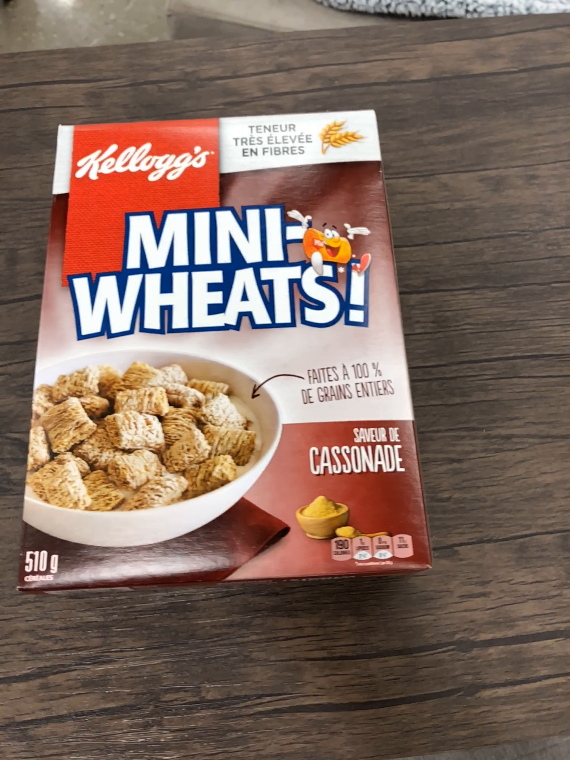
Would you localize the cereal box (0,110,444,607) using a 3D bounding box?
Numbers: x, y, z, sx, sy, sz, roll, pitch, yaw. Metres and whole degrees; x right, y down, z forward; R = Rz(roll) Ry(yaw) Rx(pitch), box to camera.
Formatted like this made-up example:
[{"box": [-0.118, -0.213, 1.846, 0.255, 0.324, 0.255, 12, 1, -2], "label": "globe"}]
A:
[{"box": [-0.041, -0.019, 0.351, 0.210, 0.060, 0.260, -3, 70, -1], "label": "cereal box"}]
